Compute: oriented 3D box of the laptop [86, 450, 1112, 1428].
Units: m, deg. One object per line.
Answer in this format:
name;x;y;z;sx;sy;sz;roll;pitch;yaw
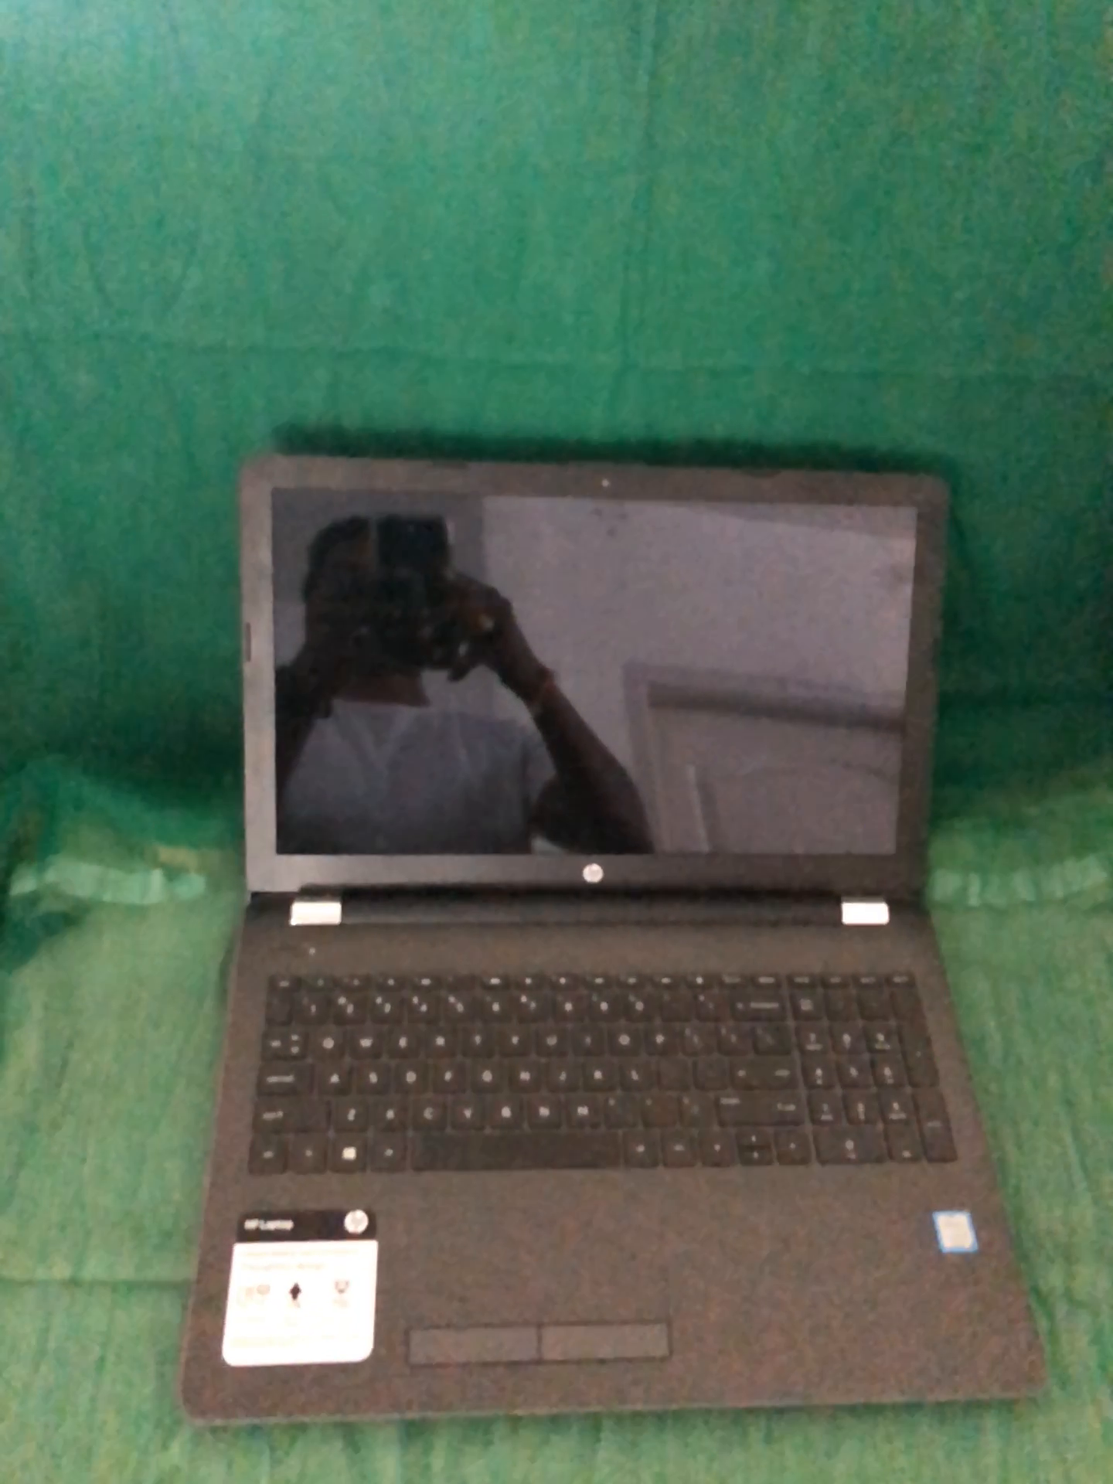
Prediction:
laptop;0.031;0.069;0.595;0.378;0.179;0.416;1;52;-4
